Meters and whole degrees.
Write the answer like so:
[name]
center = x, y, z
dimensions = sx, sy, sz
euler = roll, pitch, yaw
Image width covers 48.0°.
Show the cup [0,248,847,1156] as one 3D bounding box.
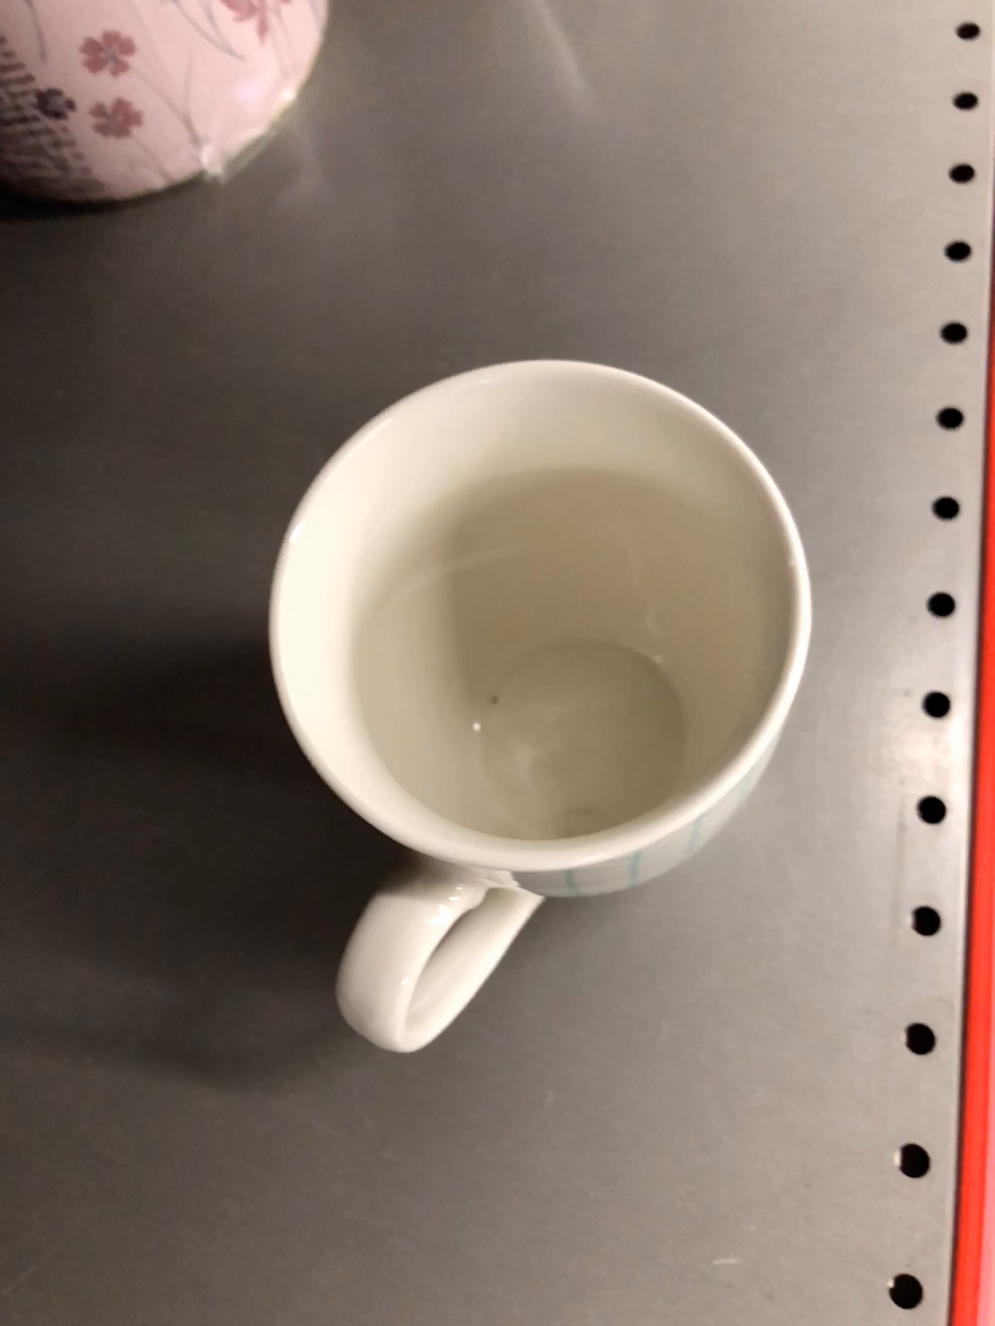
[cup]
center = -0.007, 0.010, 0.222
dimensions = 0.093, 0.096, 0.119
euler = 25, 78, 14
